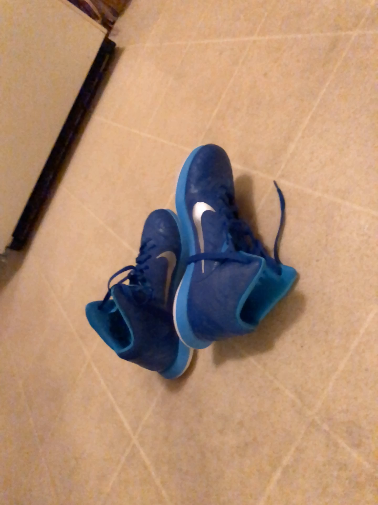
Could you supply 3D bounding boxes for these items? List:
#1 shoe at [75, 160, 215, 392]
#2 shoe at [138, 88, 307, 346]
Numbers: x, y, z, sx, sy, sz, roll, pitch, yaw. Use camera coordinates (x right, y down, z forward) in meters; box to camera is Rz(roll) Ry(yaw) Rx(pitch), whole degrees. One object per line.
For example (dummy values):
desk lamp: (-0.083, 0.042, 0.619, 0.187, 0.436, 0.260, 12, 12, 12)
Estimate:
shoe: (-0.072, 0.034, 0.647, 0.120, 0.144, 0.311, -34, 48, 36)
shoe: (0.046, -0.036, 0.548, 0.160, 0.119, 0.282, -17, 59, 40)
